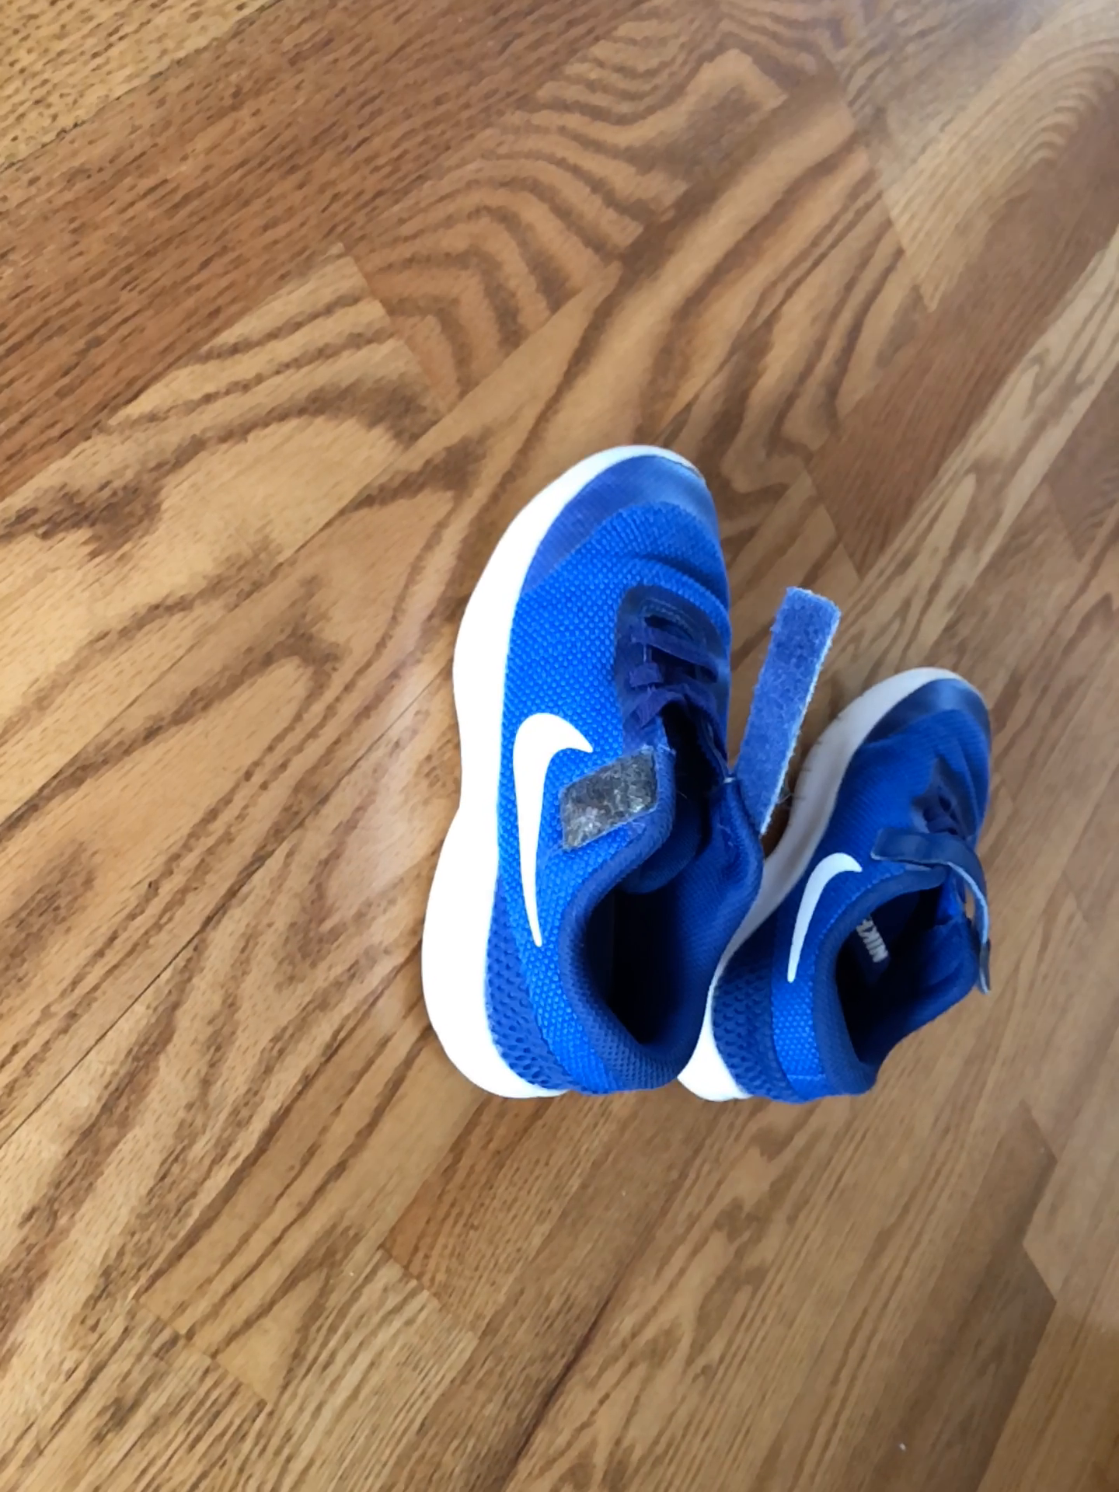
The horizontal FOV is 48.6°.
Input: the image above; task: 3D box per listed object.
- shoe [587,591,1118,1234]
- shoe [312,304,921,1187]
[{"bbox_3d":[0.123,0.049,0.462,0.215,0.092,0.093,-50,122,-29],"label":"shoe"},{"bbox_3d":[0.020,0.002,0.360,0.094,0.092,0.214,23,76,-40],"label":"shoe"}]
